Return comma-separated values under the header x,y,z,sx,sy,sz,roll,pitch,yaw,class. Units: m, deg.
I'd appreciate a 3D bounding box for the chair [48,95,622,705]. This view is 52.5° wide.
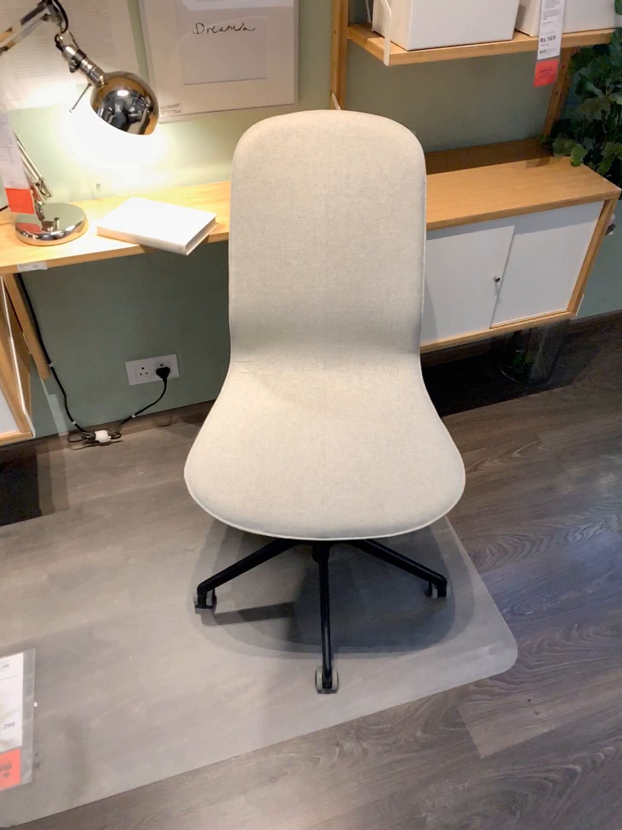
x,y,z,sx,sy,sz,roll,pitch,yaw,class
0.052,0.021,1.254,0.670,1.016,0.673,-1,44,-1,chair
